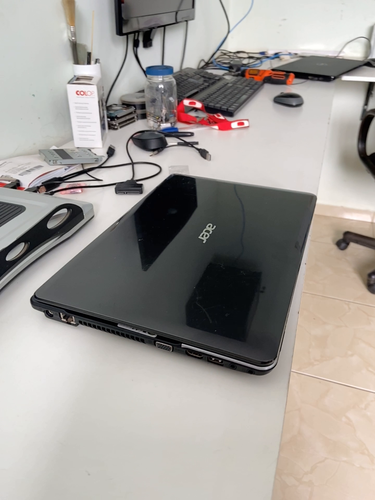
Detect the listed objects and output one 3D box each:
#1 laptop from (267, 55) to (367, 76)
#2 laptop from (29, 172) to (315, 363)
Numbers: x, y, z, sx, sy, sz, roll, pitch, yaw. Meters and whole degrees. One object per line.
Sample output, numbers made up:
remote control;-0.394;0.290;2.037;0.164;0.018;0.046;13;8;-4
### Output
laptop;0.465;-0.653;1.354;0.239;0.001;0.437;22;39;31
laptop;0.017;-0.020;0.464;0.230;0.005;0.337;11;34;18
